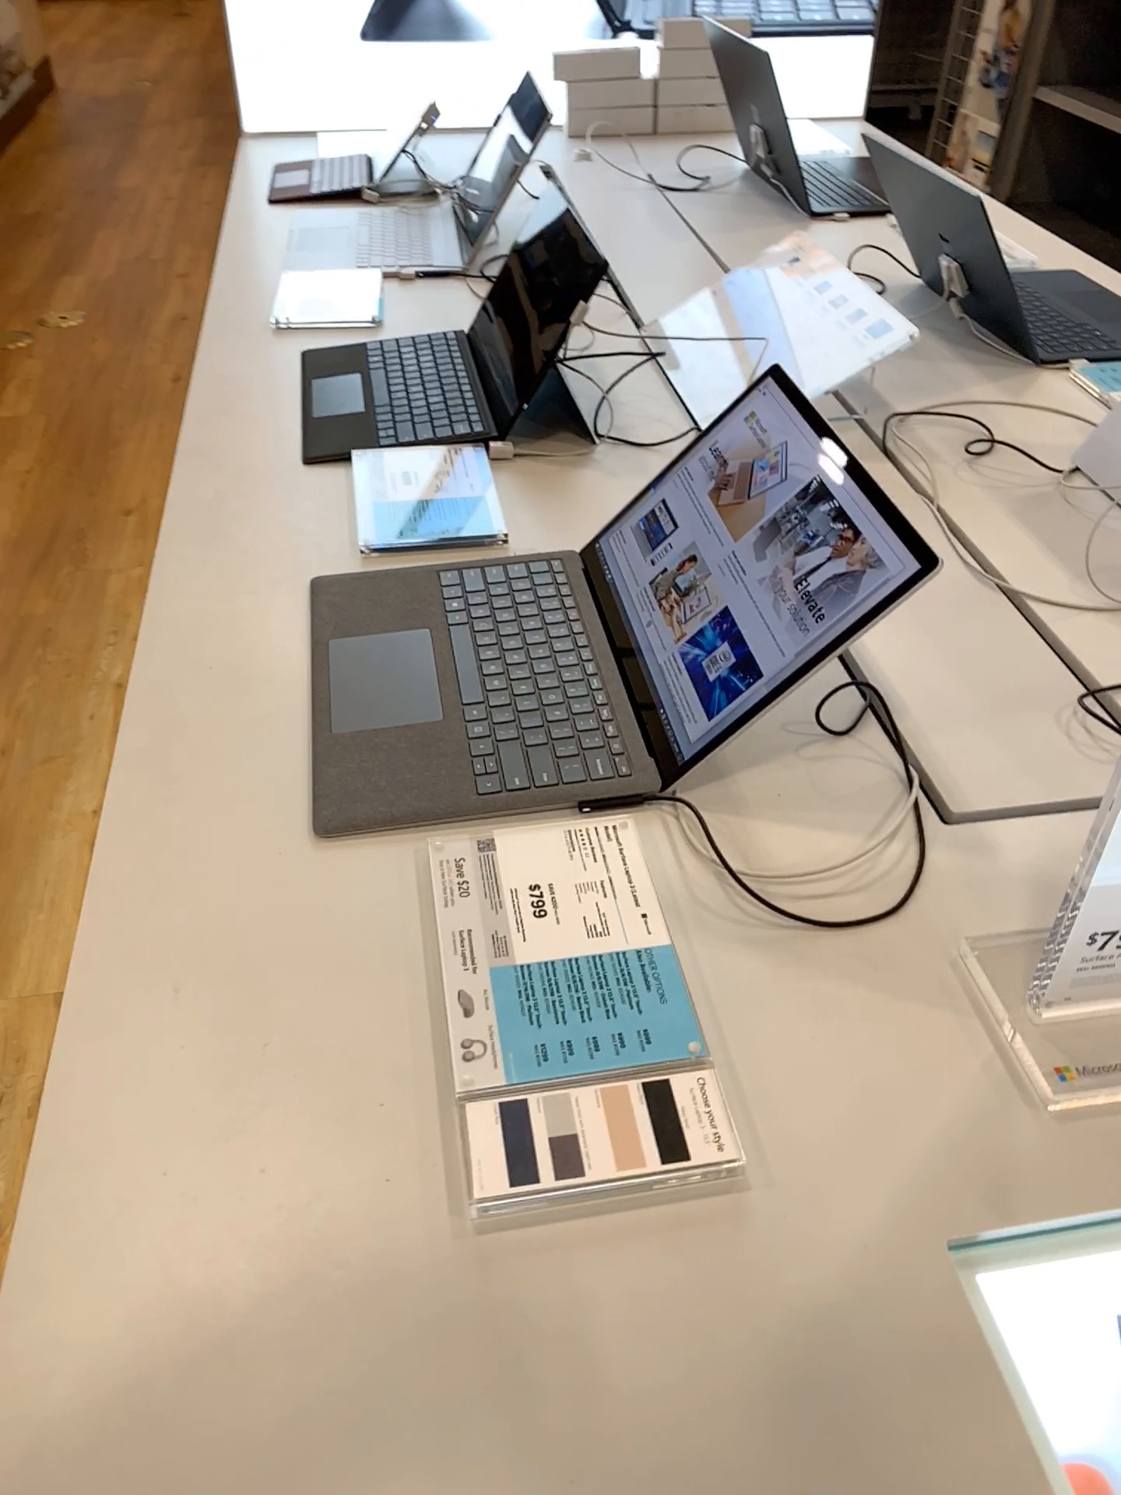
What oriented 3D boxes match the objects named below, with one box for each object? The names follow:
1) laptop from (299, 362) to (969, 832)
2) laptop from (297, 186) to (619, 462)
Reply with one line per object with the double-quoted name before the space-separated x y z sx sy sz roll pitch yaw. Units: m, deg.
"laptop" 0.021 -0.121 0.787 0.374 0.148 0.298 -7 39 -6
"laptop" -0.114 -0.446 1.178 0.290 0.157 0.290 -8 40 -9
